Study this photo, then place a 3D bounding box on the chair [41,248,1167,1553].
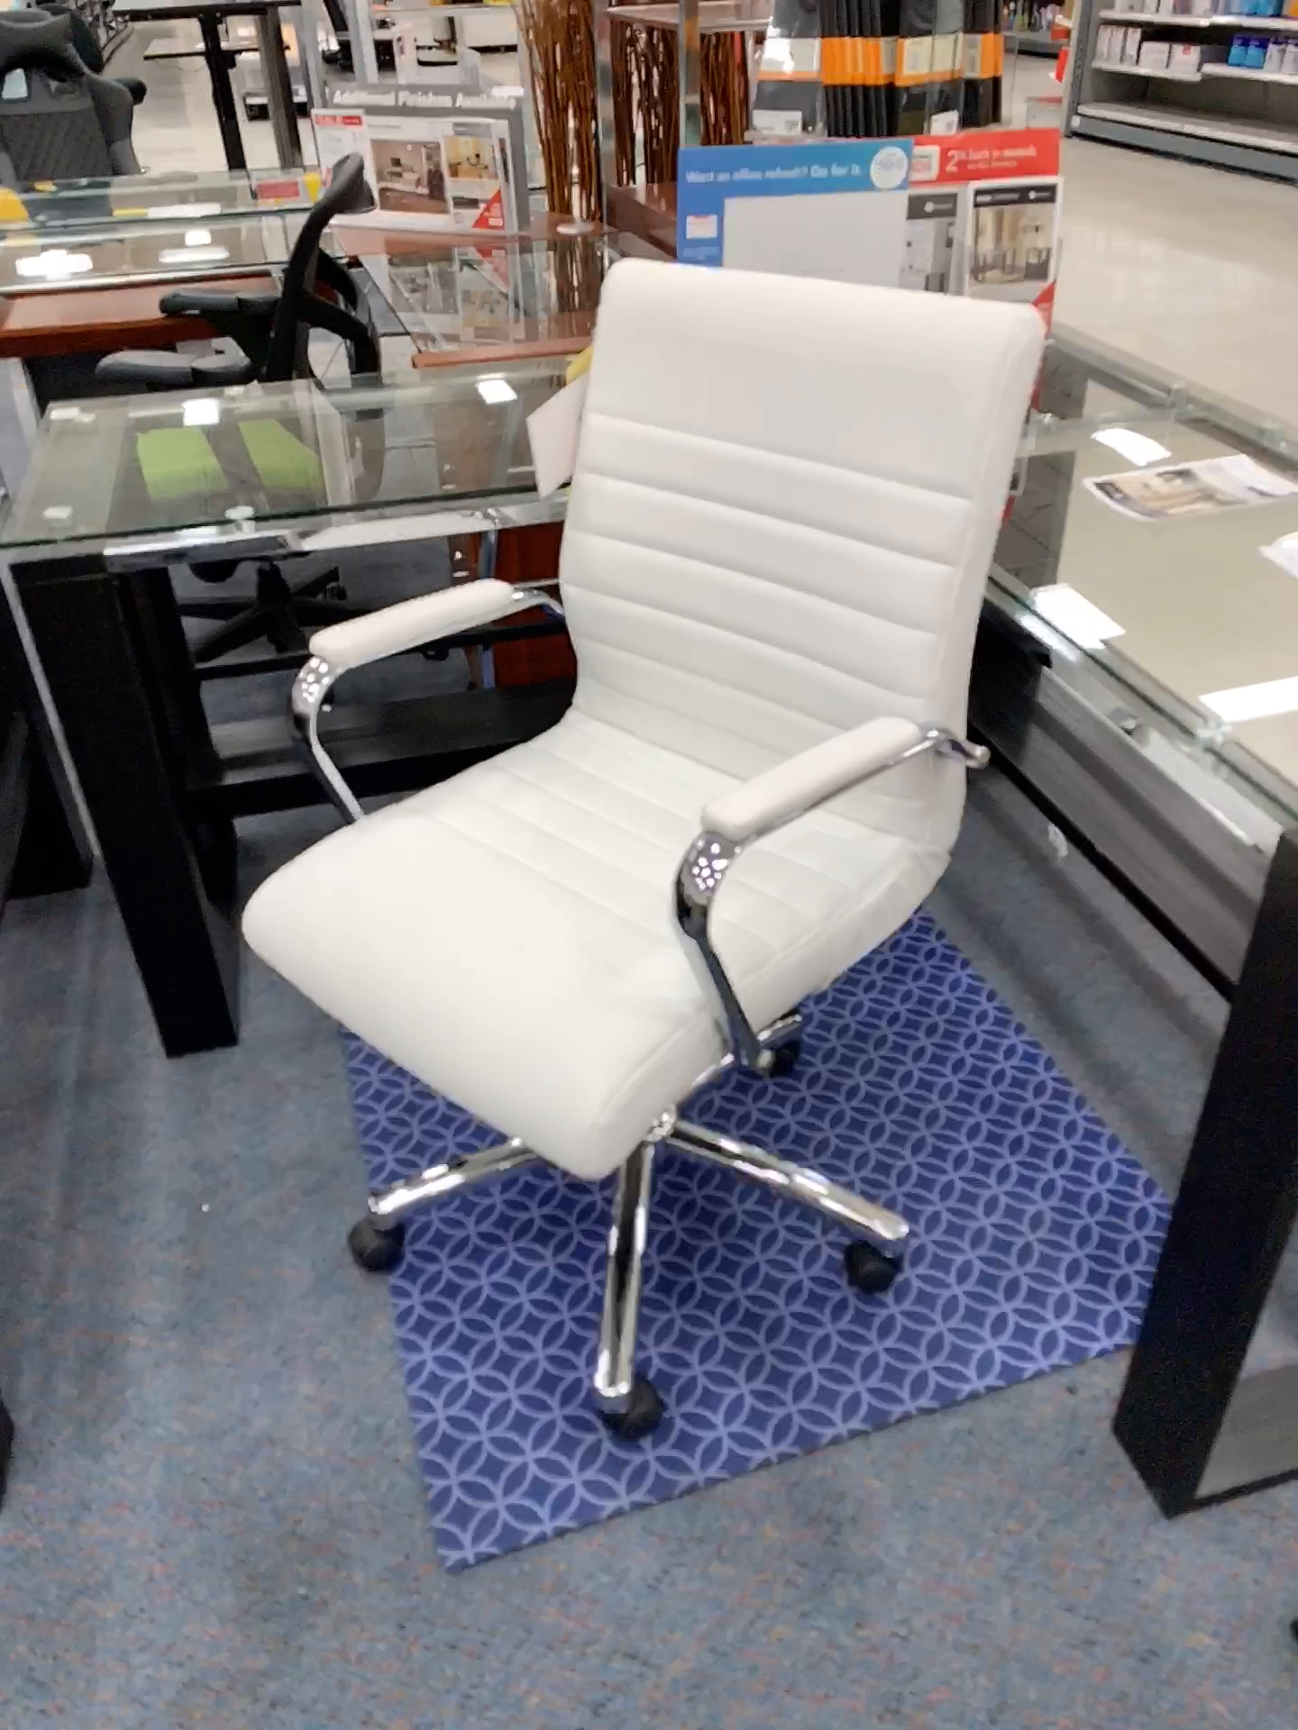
[{"bbox_3d":[-0.004,-0.012,1.315,0.616,0.963,0.663,24,43,32],"label":"chair"}]
